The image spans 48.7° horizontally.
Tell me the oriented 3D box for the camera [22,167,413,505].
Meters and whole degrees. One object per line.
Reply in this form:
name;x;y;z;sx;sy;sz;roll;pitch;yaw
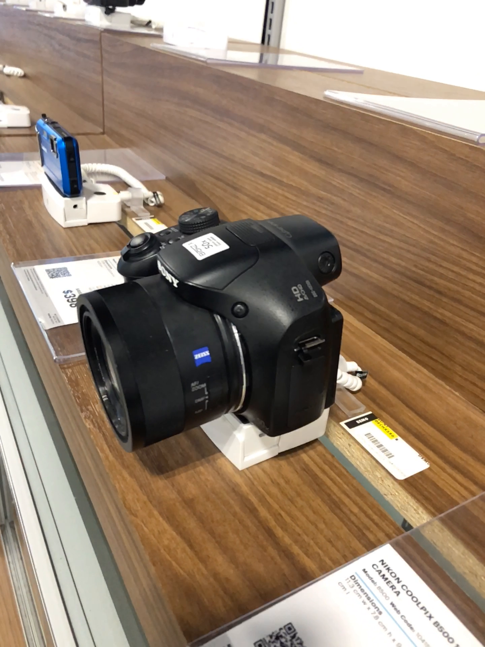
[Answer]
camera;-0.021;-0.012;0.264;0.130;0.089;0.131;-12;35;-30
